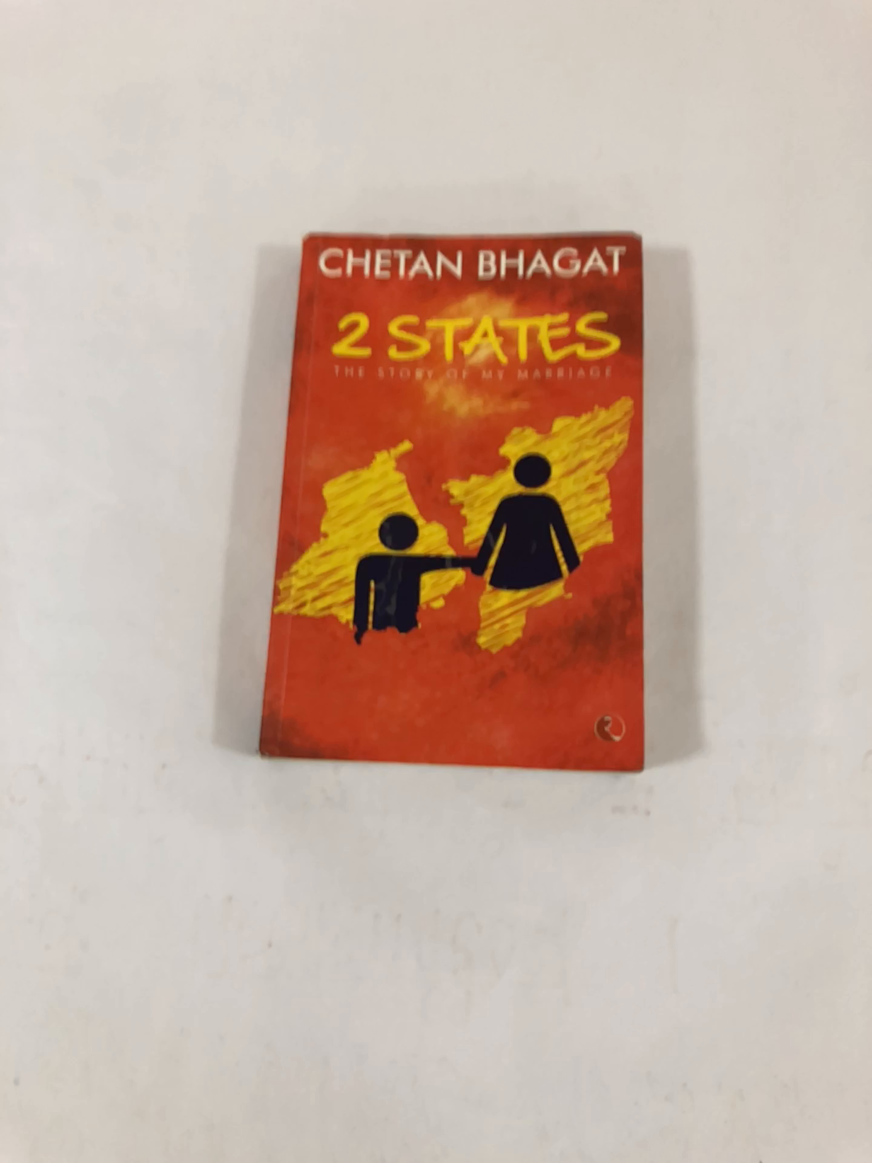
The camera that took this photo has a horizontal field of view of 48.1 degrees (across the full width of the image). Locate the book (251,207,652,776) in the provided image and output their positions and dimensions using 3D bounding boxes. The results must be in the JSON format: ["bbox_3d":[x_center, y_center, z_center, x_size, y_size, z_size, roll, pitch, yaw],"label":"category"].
[{"bbox_3d":[0.009,-0.032,0.339,0.123,0.040,0.190,2,77,2],"label":"book"}]
